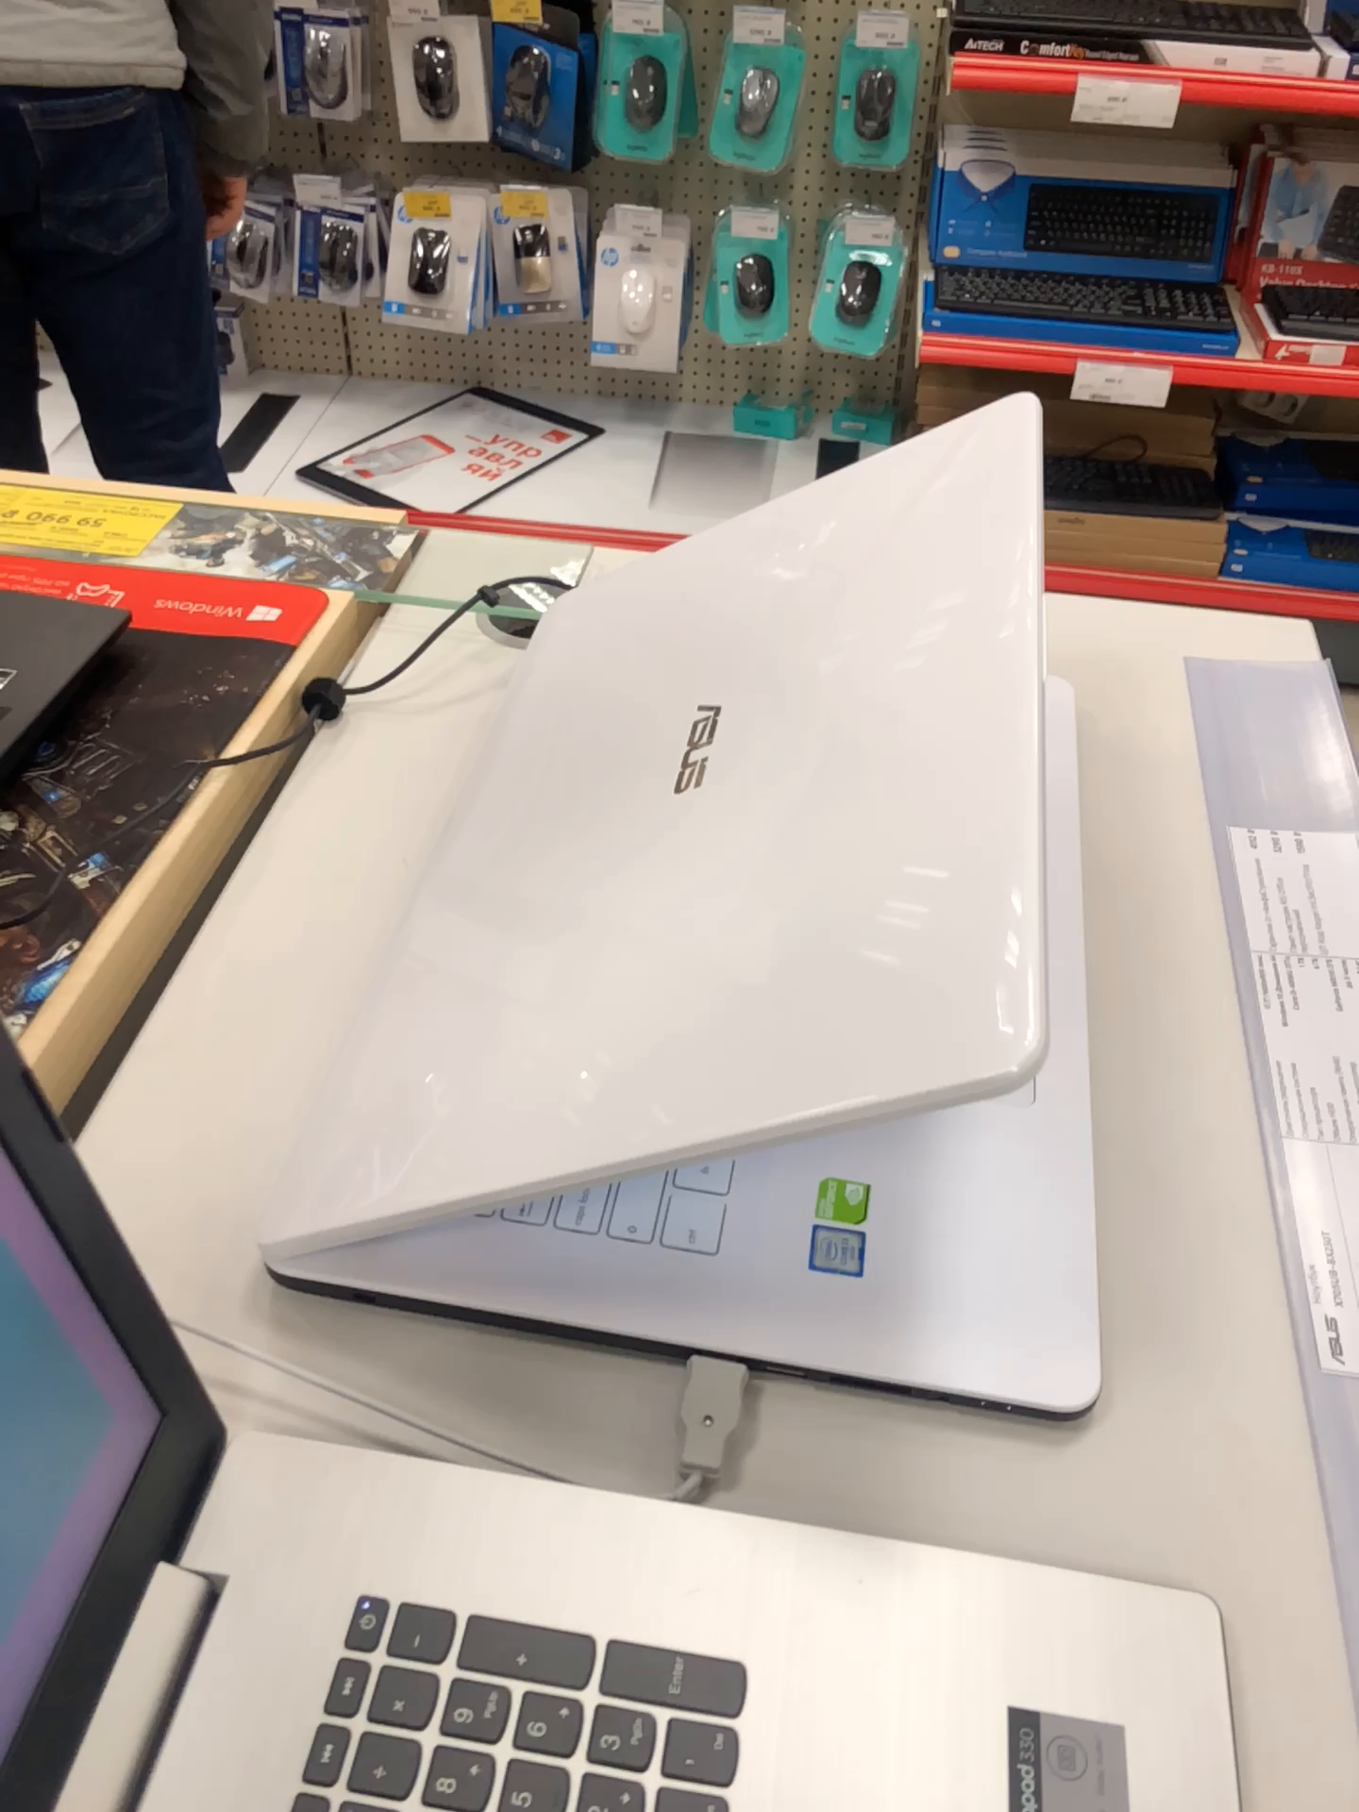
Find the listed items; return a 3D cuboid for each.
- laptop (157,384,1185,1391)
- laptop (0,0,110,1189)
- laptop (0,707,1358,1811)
[{"bbox_3d":[0.013,-0.046,0.565,0.256,0.142,0.393,6,40,4],"label":"laptop"},{"bbox_3d":[-0.522,-0.140,0.527,0.377,0.220,0.367,13,42,7],"label":"laptop"},{"bbox_3d":[-0.058,0.204,0.156,0.336,0.262,0.394,5,41,3],"label":"laptop"}]
